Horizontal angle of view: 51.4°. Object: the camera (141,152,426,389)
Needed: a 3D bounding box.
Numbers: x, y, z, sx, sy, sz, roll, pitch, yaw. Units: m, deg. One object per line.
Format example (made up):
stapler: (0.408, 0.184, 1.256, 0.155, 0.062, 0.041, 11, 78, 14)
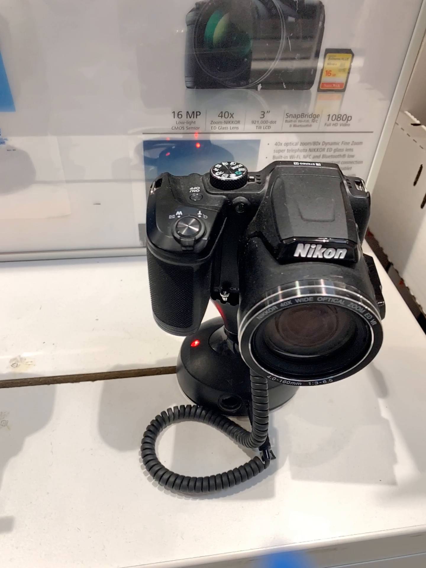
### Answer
camera: (0.027, -0.004, 0.205, 0.110, 0.089, 0.061, 0, 42, -4)
